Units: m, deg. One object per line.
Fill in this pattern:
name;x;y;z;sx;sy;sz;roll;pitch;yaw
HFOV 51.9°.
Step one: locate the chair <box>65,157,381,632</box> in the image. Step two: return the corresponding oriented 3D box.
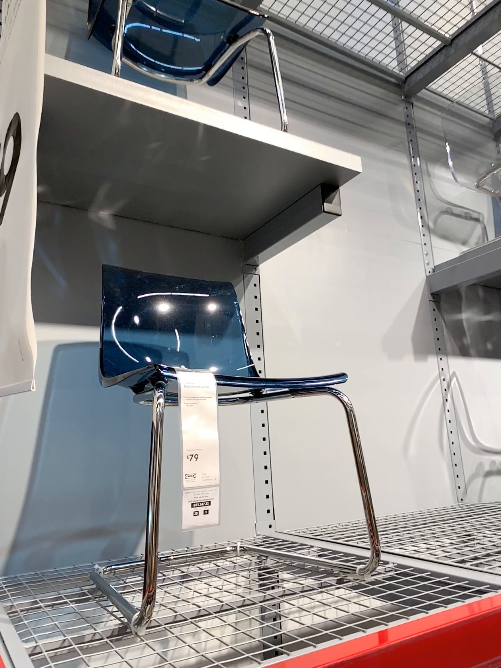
chair;-0.115;0.138;1.273;0.529;0.843;0.549;5;-15;-30
